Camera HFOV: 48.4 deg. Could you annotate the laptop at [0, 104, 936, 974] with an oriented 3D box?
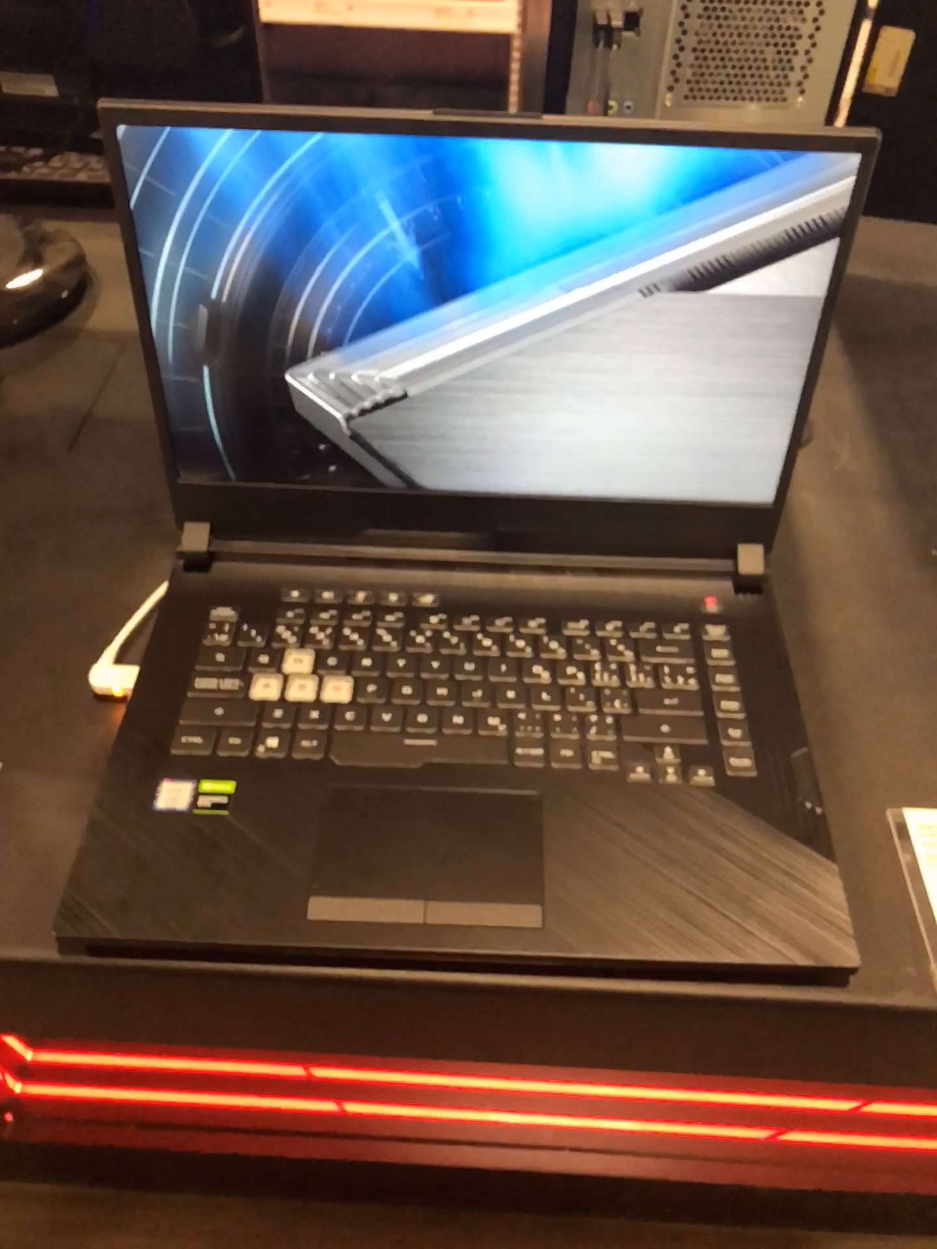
[{"bbox_3d":[0.000,-0.043,0.462,0.349,0.243,0.281,3,46,0],"label":"laptop"}]
